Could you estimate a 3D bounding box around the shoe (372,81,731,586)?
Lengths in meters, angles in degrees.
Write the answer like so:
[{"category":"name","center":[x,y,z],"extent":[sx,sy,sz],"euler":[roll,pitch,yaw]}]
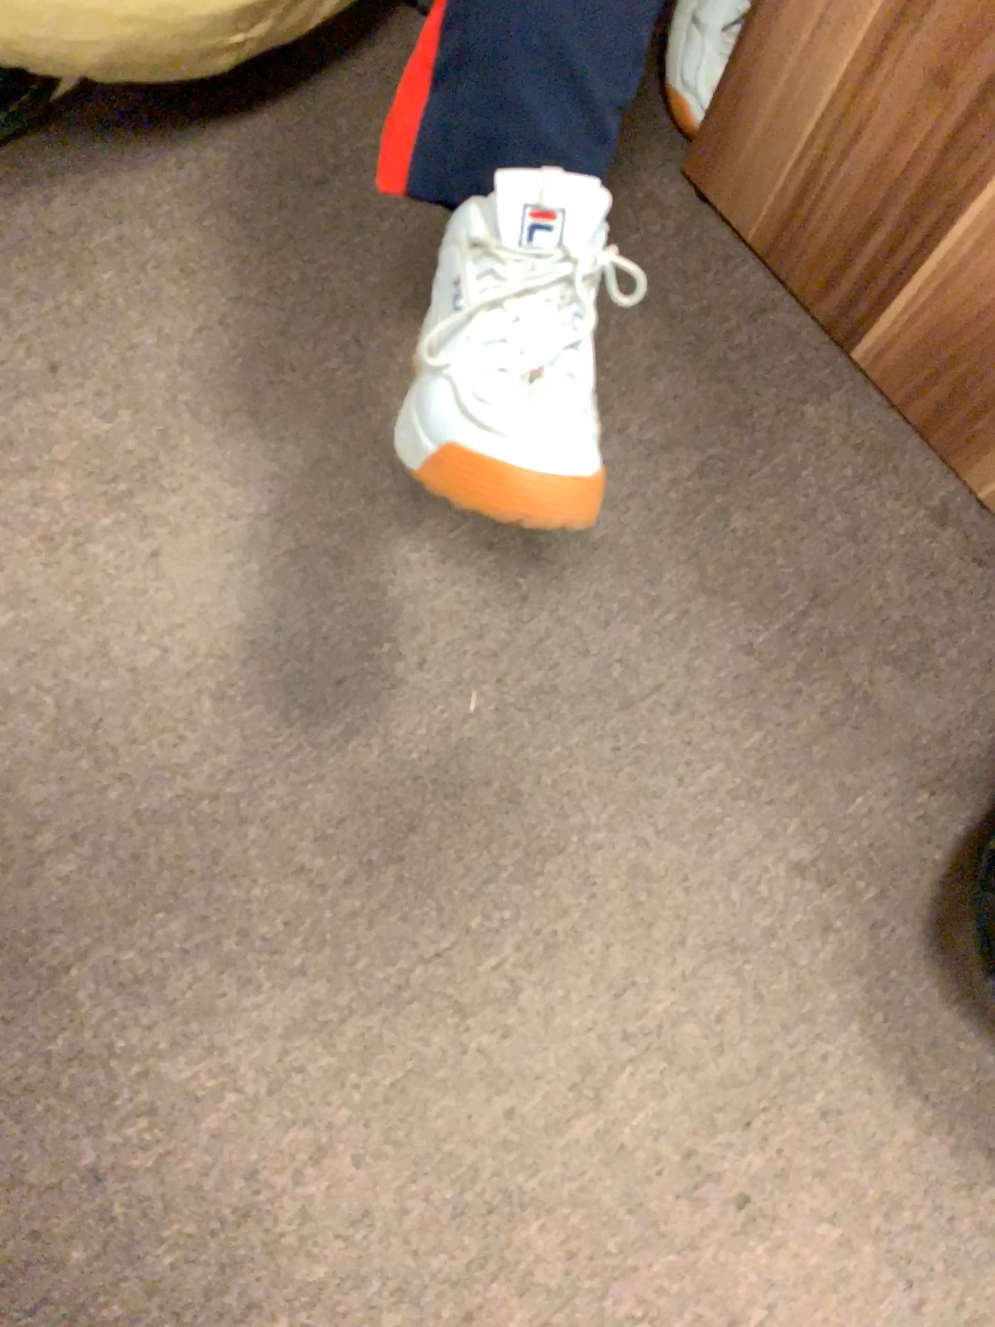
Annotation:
[{"category":"shoe","center":[0.013,-0.178,0.534],"extent":[0.130,0.130,0.230],"euler":[8,48,-14]}]
